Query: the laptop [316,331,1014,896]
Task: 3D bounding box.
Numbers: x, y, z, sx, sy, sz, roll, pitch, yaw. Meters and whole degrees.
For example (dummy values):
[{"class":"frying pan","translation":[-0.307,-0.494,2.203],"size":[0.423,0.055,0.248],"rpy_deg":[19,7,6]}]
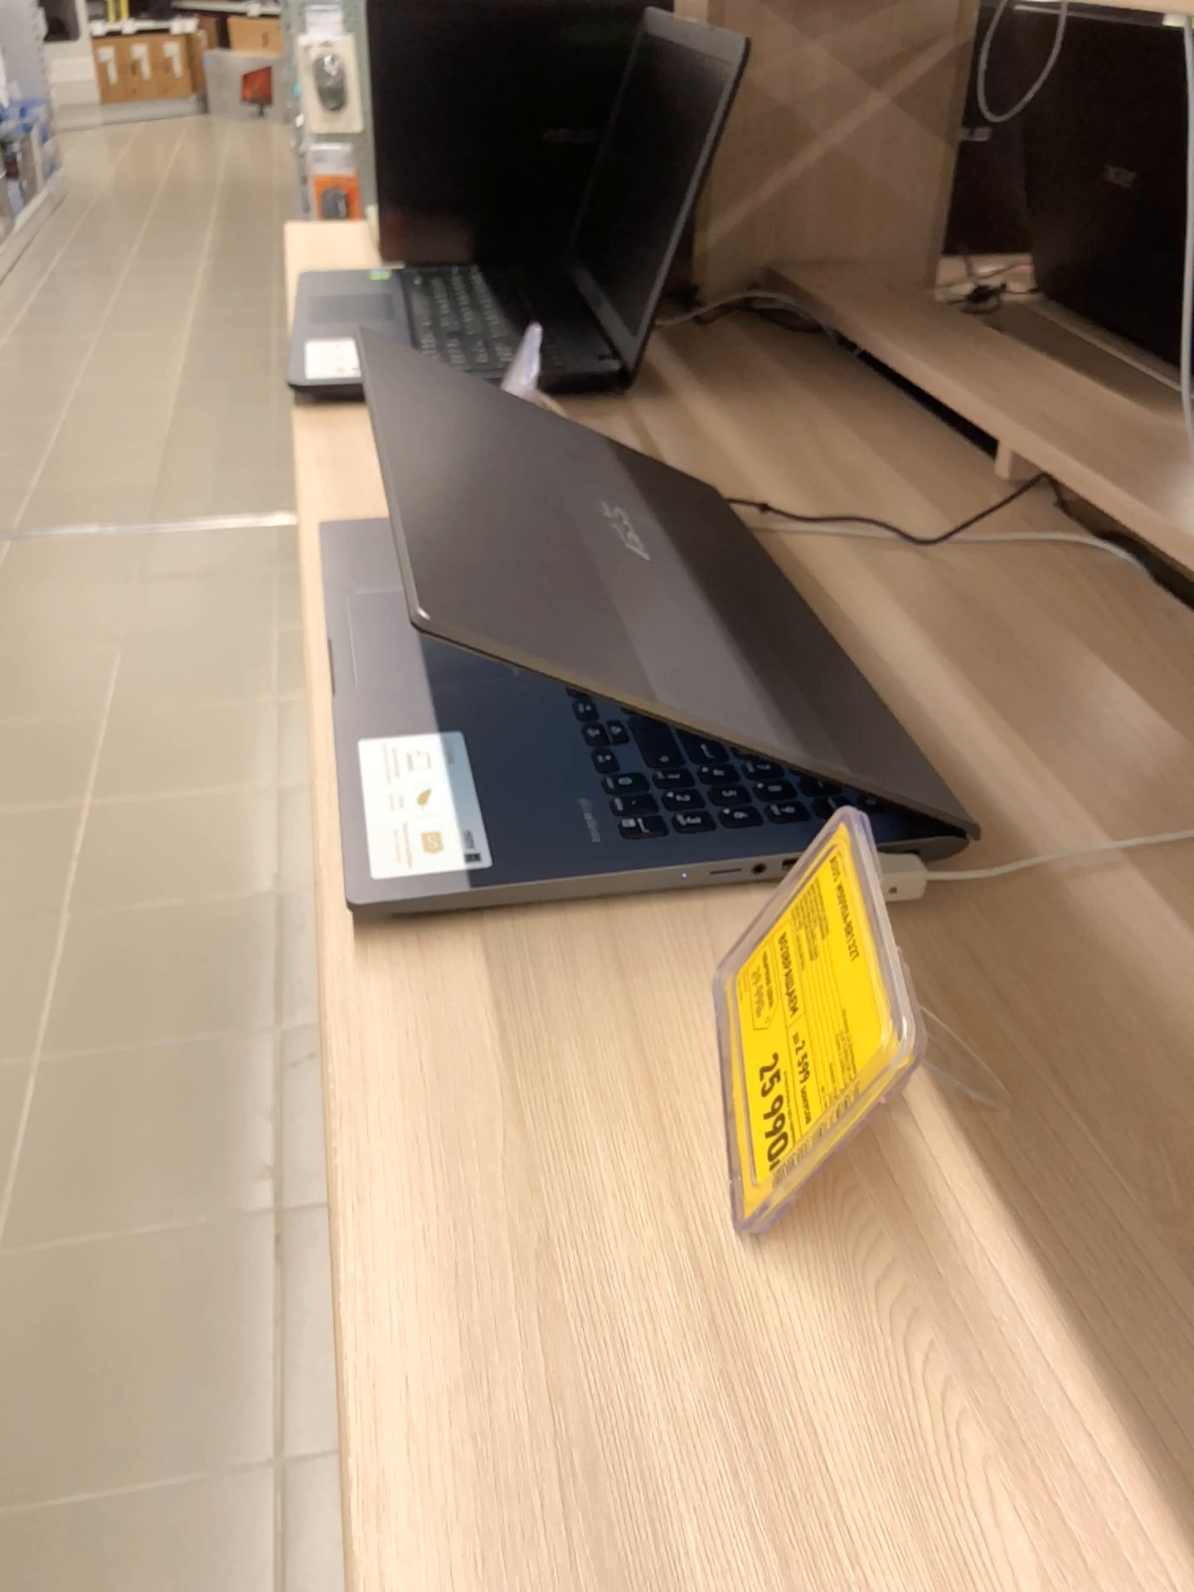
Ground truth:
[{"class":"laptop","translation":[-0.004,-0.113,0.608],"size":[0.232,0.111,0.350],"rpy_deg":[-5,33,-10]}]
